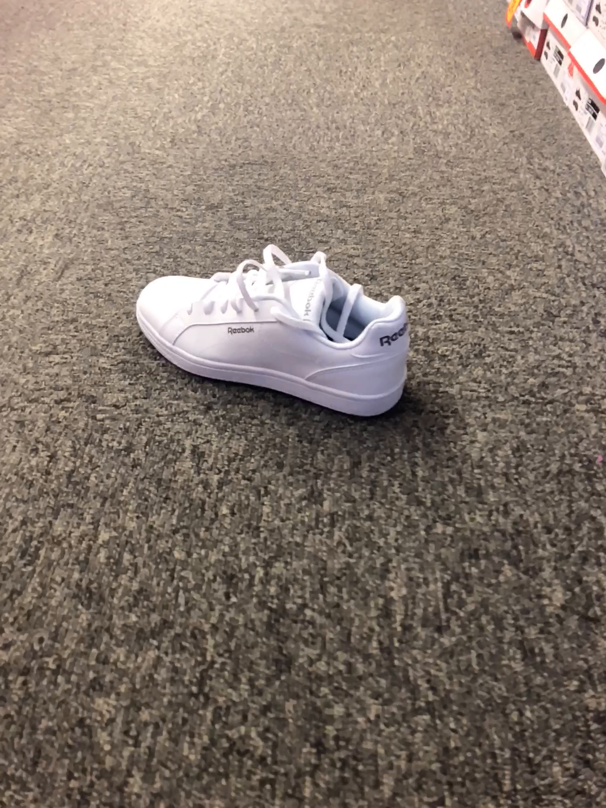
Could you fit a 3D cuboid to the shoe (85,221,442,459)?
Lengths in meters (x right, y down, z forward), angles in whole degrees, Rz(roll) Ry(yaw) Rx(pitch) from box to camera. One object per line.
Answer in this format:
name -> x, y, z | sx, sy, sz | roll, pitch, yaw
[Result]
shoe -> -0.031, -0.061, 0.538 | 0.260, 0.099, 0.101 | 16, 47, 25
